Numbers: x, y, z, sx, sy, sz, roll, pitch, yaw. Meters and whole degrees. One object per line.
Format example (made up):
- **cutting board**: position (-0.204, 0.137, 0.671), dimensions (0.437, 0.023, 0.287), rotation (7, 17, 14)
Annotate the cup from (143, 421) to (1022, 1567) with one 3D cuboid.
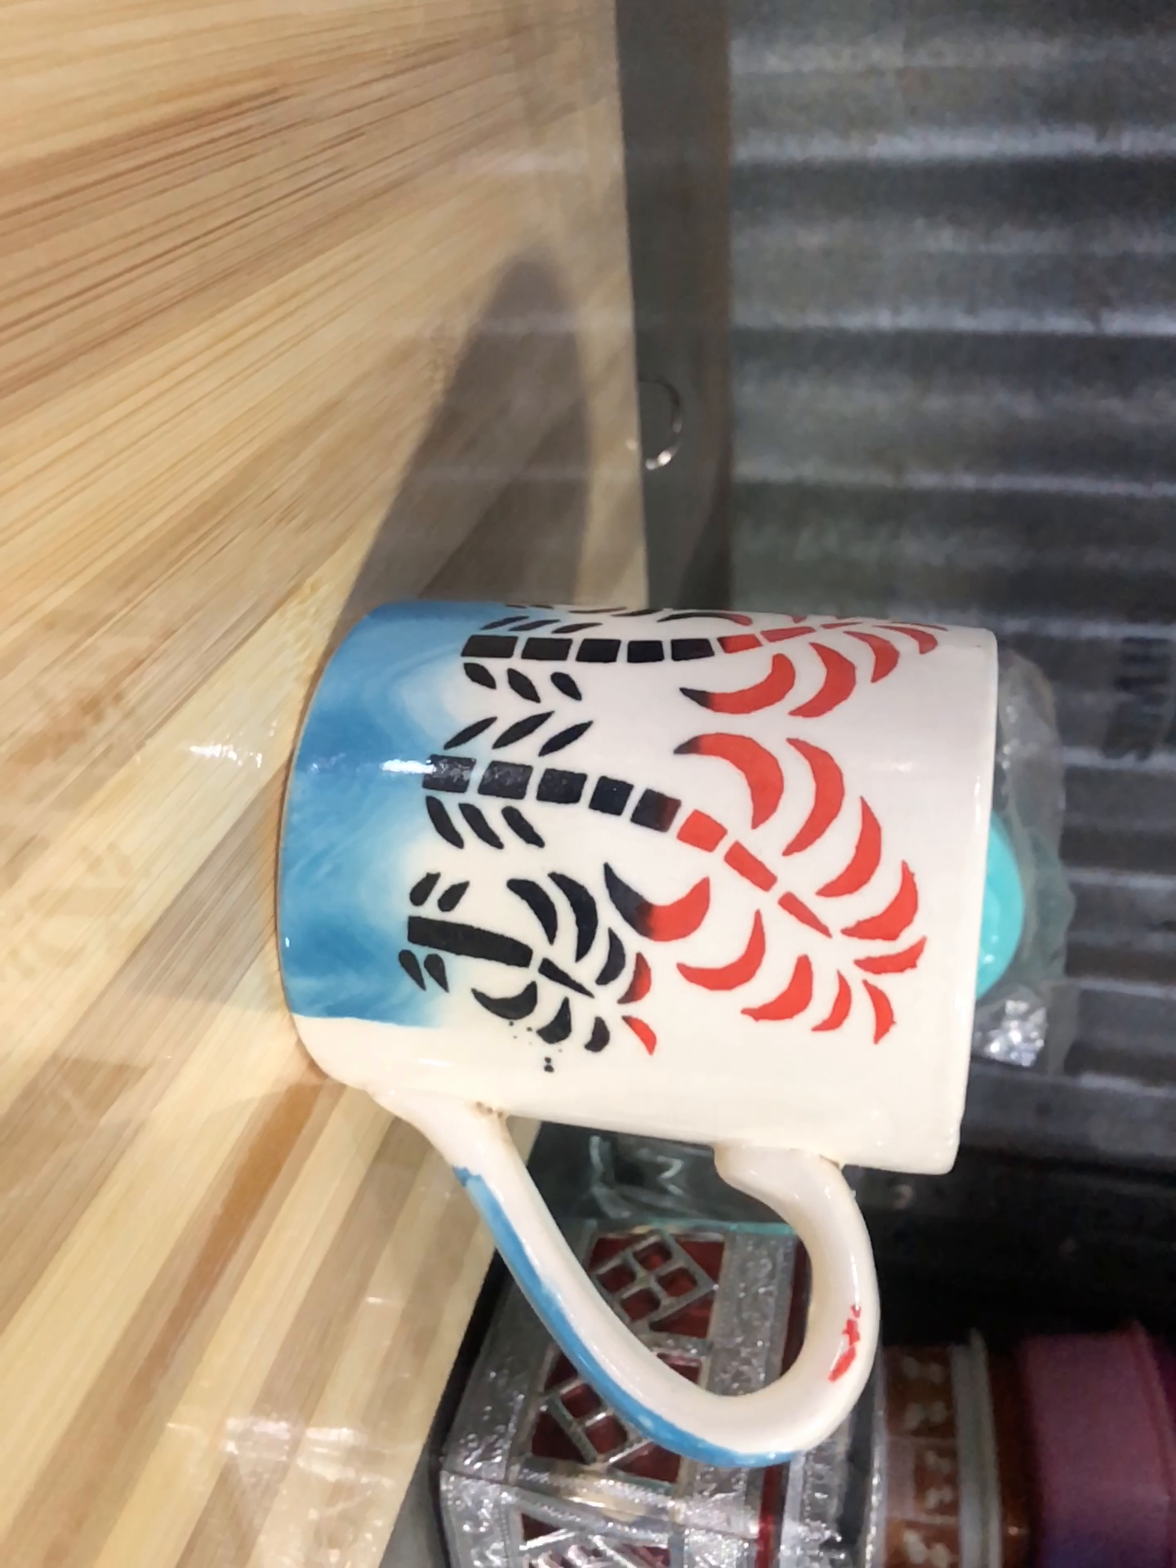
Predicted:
- **cup**: position (0.012, 0.029, 0.188), dimensions (0.100, 0.080, 0.120), rotation (57, 39, -70)
